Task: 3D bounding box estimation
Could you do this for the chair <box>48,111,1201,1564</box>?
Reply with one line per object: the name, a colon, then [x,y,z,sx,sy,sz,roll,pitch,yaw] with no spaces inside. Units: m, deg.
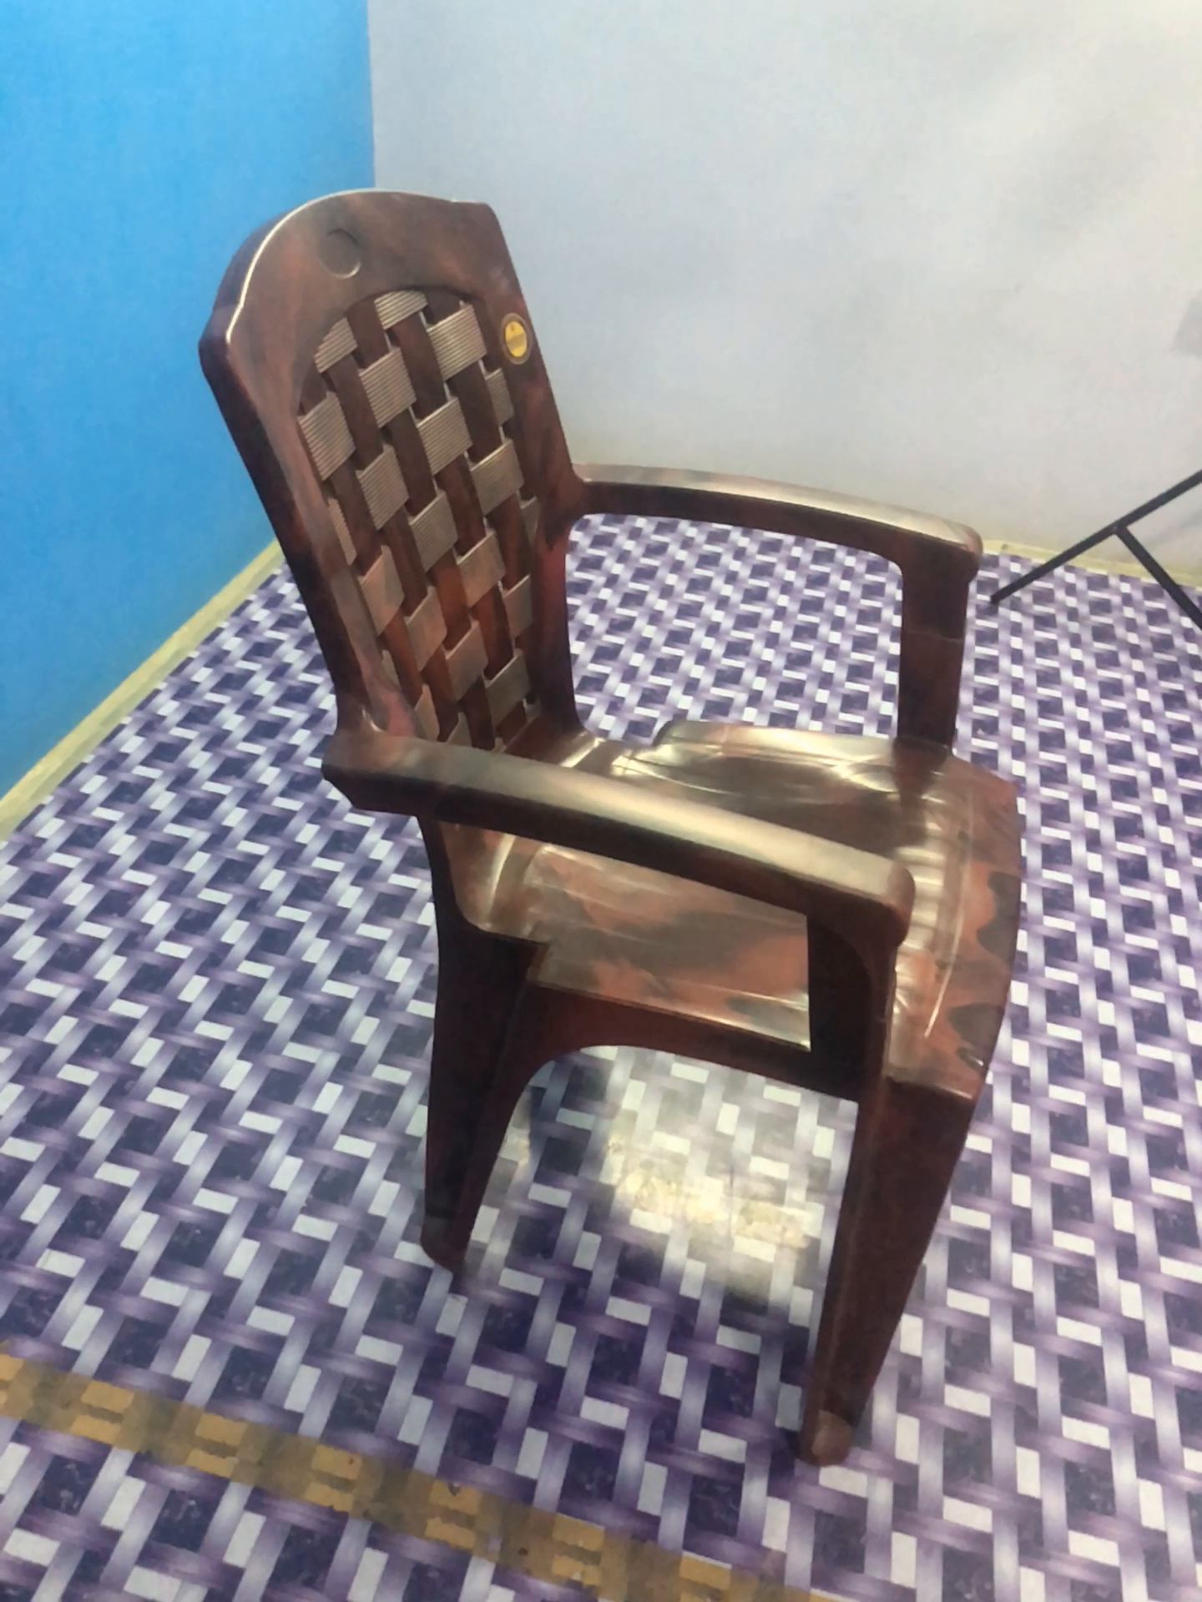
chair: [0.080,0.004,1.039,0.590,0.845,0.594,14,37,12]
